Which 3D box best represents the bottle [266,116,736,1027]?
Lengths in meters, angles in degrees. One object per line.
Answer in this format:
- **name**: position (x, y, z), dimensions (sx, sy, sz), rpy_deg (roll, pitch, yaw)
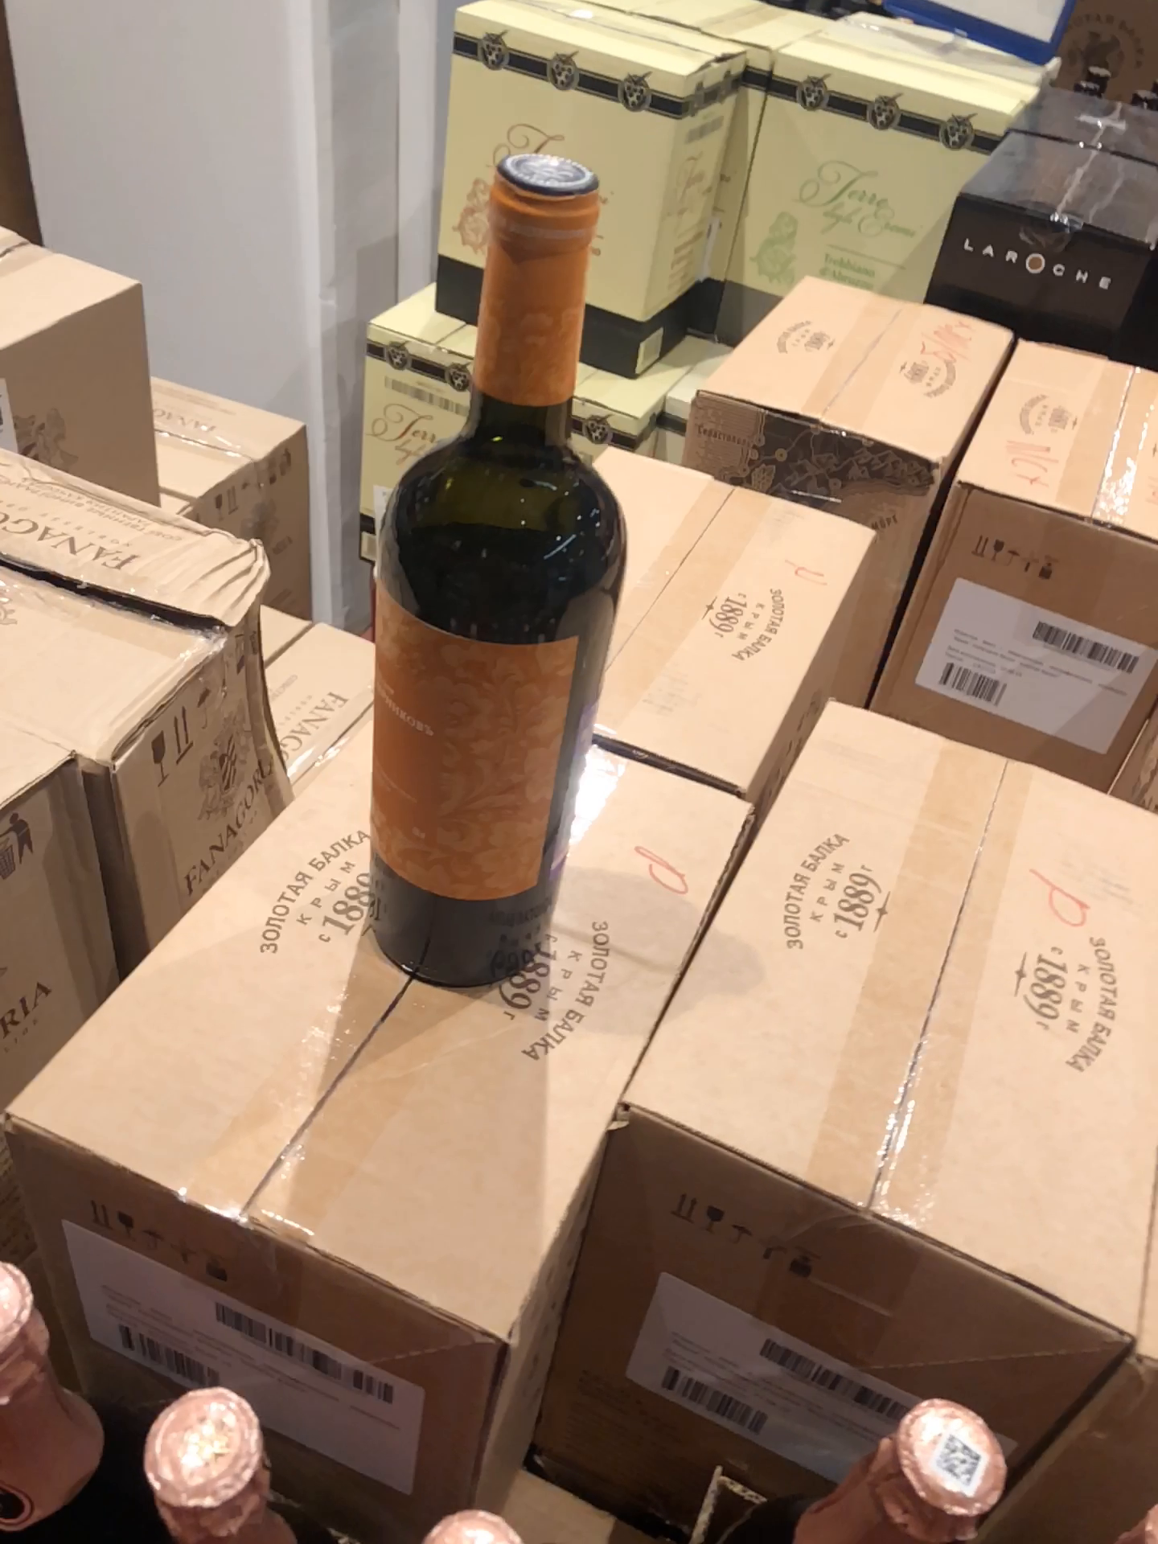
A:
- **bottle**: position (-0.032, -0.051, 0.429), dimensions (0.090, 0.278, 0.091), rpy_deg (4, 41, -4)
